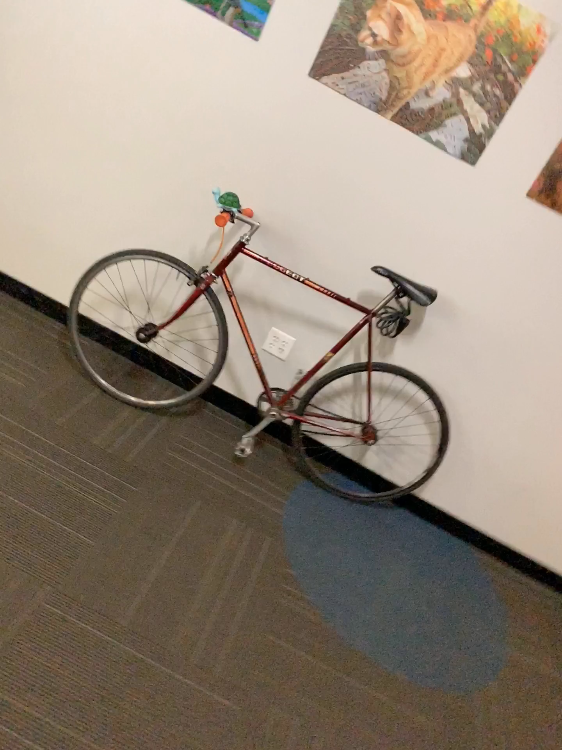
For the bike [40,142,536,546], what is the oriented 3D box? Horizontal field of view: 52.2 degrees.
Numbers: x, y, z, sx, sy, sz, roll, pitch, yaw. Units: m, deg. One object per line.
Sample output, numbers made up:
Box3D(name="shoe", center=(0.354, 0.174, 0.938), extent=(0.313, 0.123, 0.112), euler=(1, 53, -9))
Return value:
Box3D(name="bike", center=(-0.006, -0.098, 2.331), extent=(1.627, 0.910, 0.450), euler=(26, 26, -5))
